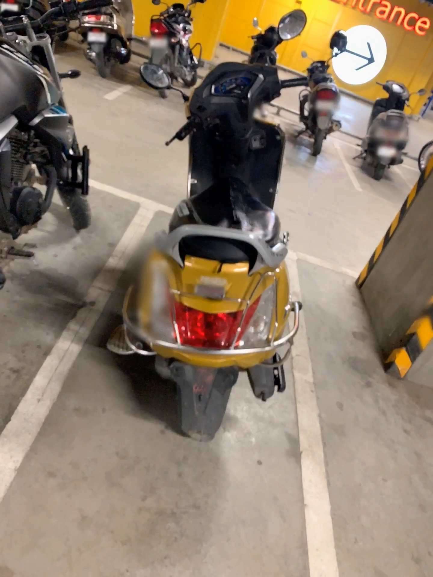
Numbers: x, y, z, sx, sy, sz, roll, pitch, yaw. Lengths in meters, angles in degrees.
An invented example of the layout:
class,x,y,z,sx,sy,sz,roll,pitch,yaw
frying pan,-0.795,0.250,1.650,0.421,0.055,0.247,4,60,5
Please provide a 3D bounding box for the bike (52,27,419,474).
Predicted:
class,x,y,z,sx,sy,sz,roll,pitch,yaw
bike,-0.065,-0.315,1.698,0.568,0.993,1.528,15,31,-11
